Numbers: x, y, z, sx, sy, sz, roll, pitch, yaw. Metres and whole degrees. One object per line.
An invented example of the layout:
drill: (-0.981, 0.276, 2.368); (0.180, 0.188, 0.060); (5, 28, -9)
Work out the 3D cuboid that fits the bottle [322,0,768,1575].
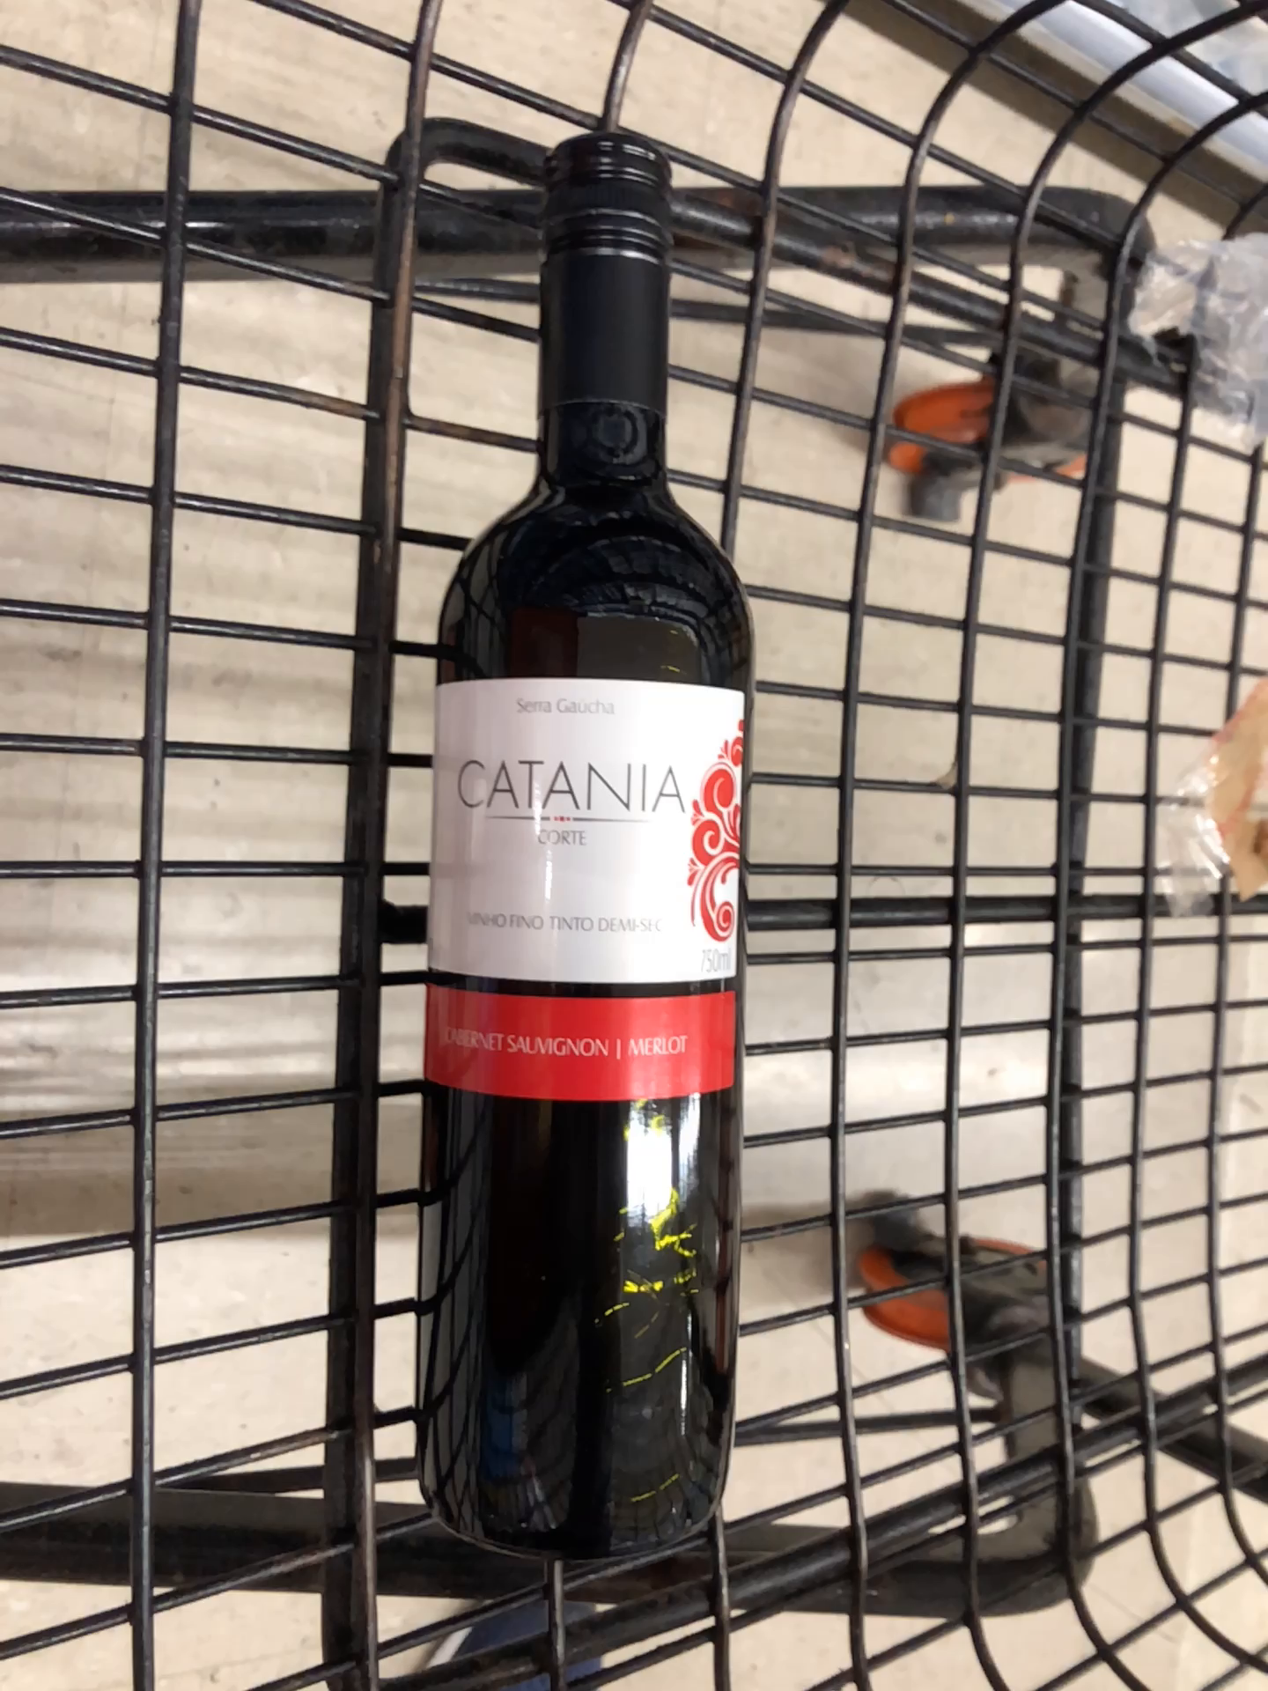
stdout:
bottle: (-0.015, -0.012, 0.306); (0.080, 0.070, 0.300); (1, 92, 9)
